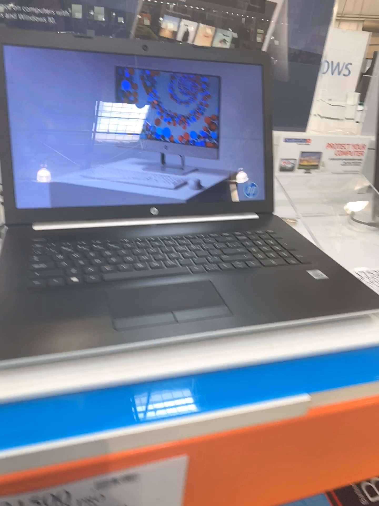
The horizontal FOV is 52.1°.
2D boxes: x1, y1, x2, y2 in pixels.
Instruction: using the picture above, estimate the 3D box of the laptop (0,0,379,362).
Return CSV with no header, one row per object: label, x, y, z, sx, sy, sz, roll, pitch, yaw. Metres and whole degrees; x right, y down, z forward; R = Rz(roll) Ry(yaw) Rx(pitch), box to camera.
laptop,-0.022,-0.120,0.456,0.395,0.234,0.371,-4,27,-18
